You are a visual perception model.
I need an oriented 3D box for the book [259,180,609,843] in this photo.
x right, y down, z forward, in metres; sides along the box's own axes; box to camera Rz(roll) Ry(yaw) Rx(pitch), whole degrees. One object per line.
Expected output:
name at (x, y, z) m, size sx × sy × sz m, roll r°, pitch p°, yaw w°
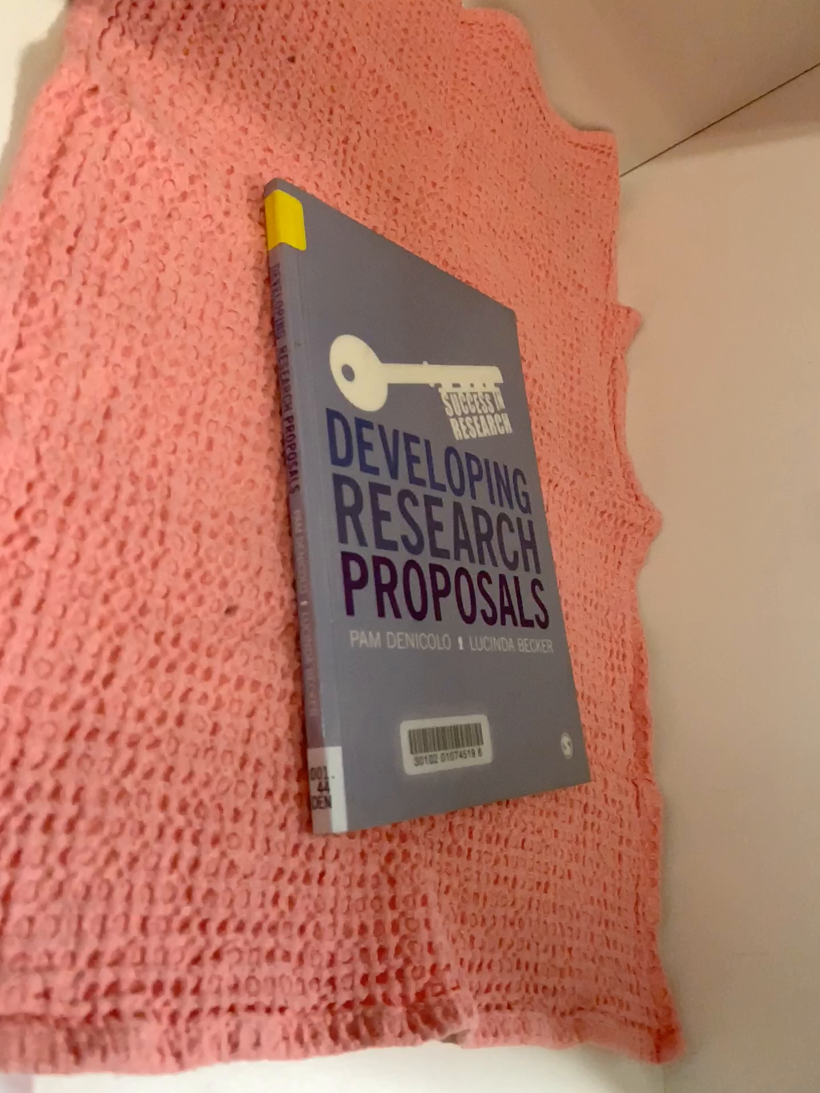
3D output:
book at (0.015, -0.012, 0.345) m, size 0.166 × 0.015 × 0.231 m, roll 11°, pitch 67°, yaw -49°
